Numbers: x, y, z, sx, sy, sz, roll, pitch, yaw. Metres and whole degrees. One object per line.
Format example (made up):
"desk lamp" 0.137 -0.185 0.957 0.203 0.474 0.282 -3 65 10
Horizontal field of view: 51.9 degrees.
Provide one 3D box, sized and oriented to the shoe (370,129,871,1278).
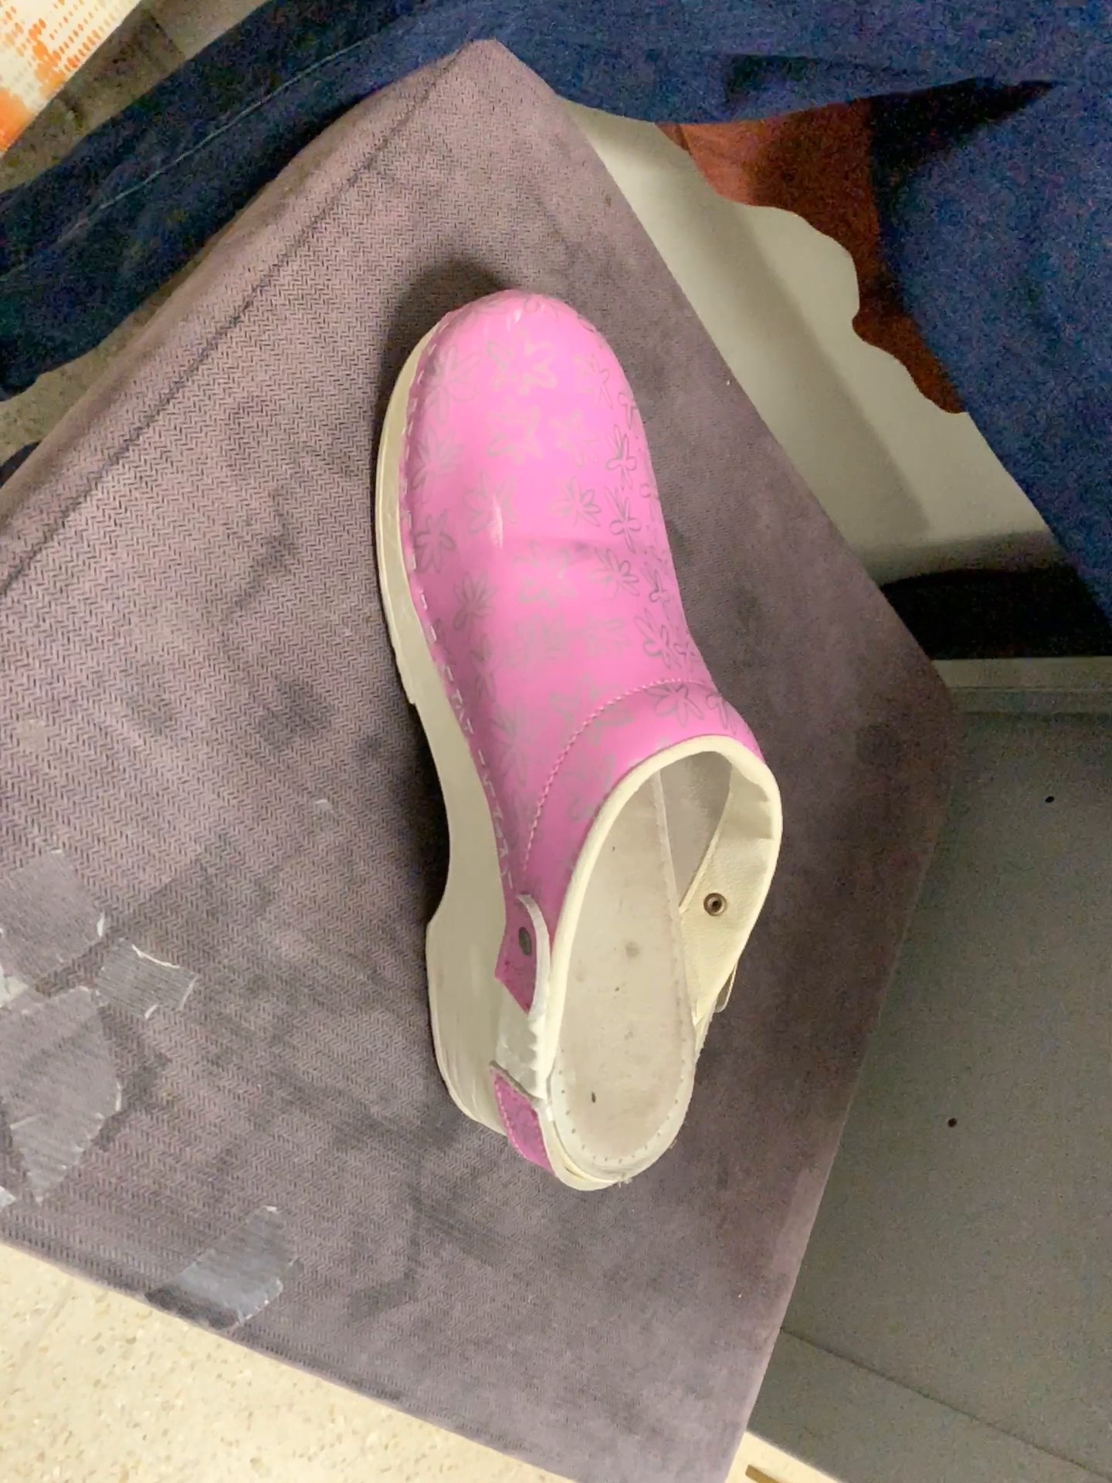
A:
"shoe" 0.018 -0.008 0.292 0.101 0.079 0.230 1 89 -43
